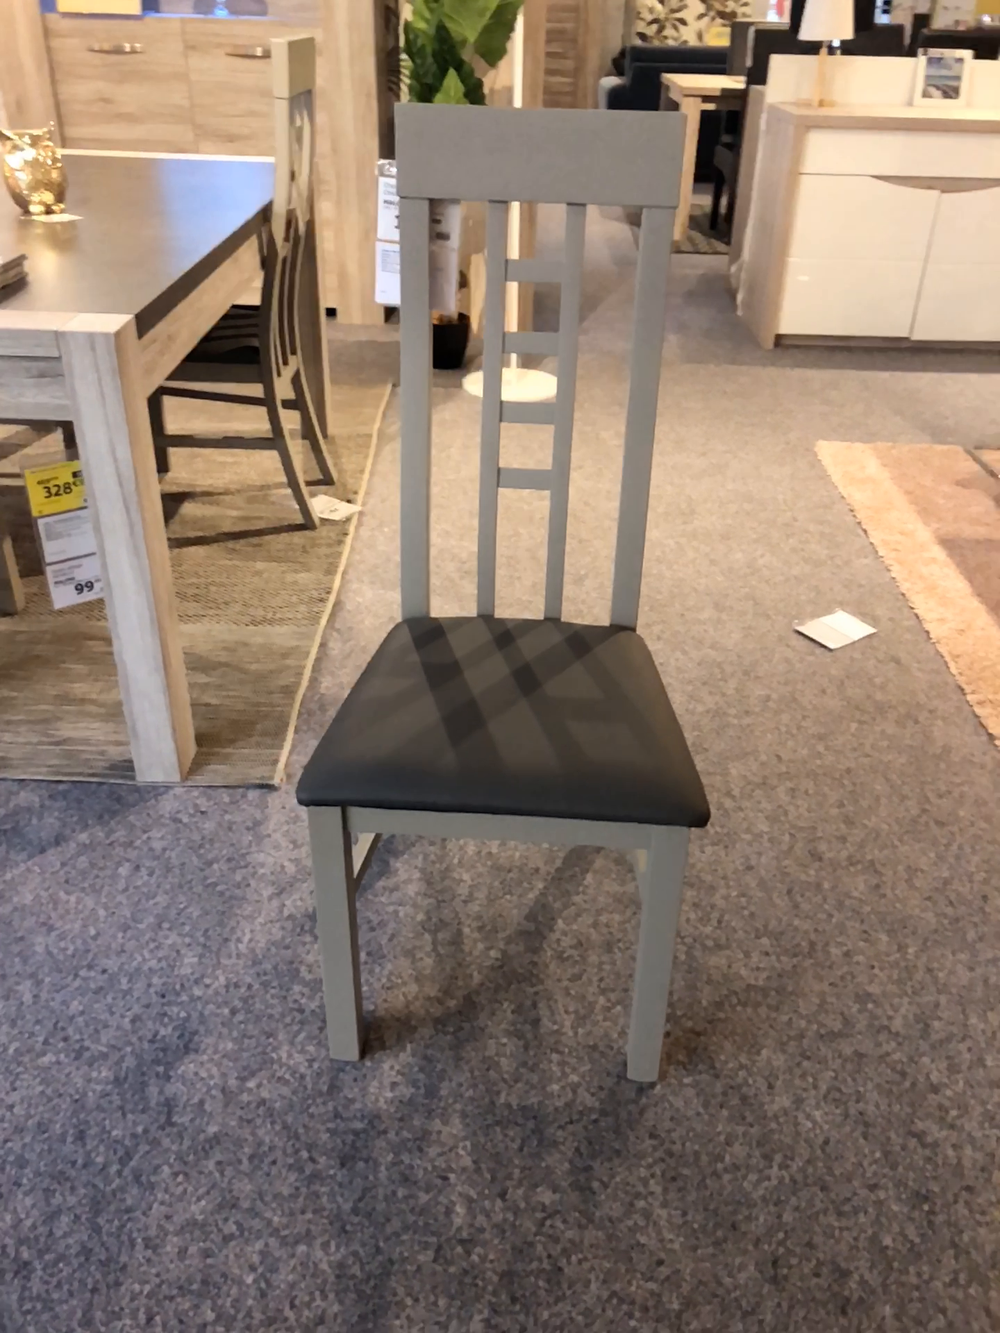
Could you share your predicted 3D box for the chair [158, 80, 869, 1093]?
[{"bbox_3d":[0.012,-0.088,1.277,0.510,1.014,0.553,3,31,2],"label":"chair"}]
